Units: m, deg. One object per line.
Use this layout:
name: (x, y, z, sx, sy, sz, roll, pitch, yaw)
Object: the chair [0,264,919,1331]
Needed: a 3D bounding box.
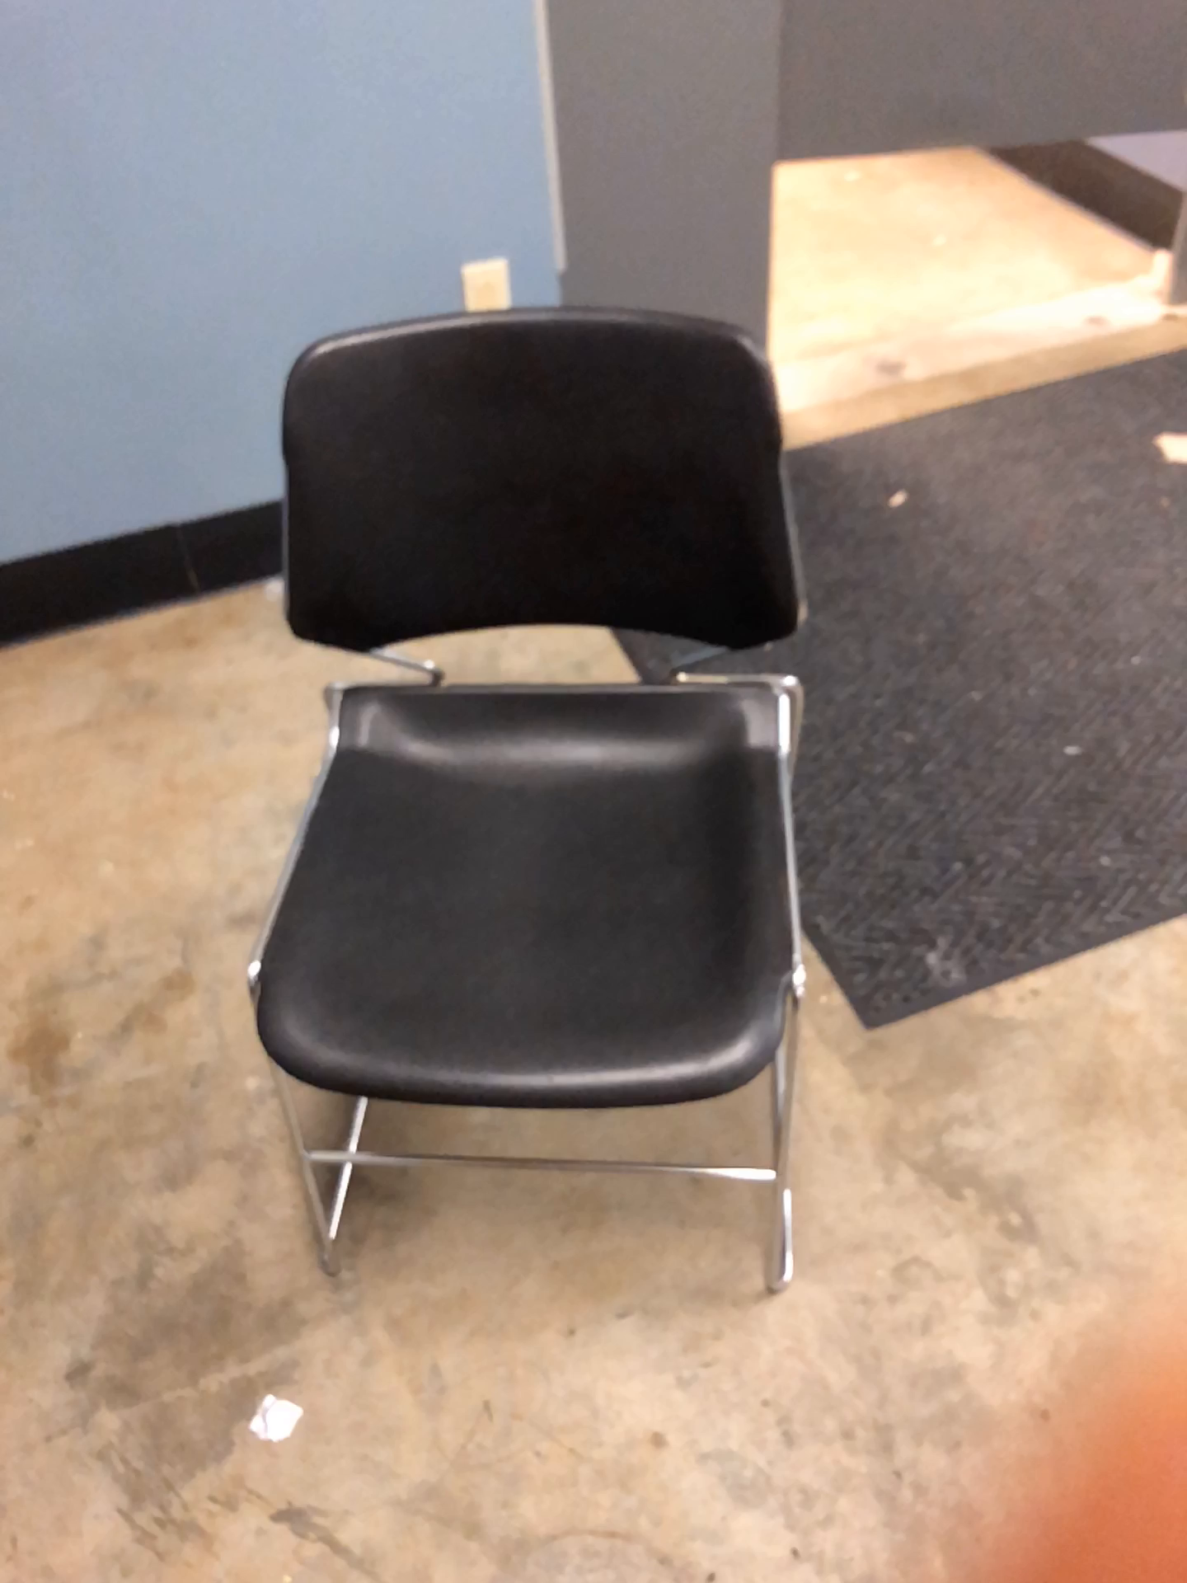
chair: (-0.052, 0.035, 1.172, 0.524, 0.766, 0.552, 0, 44, 5)
